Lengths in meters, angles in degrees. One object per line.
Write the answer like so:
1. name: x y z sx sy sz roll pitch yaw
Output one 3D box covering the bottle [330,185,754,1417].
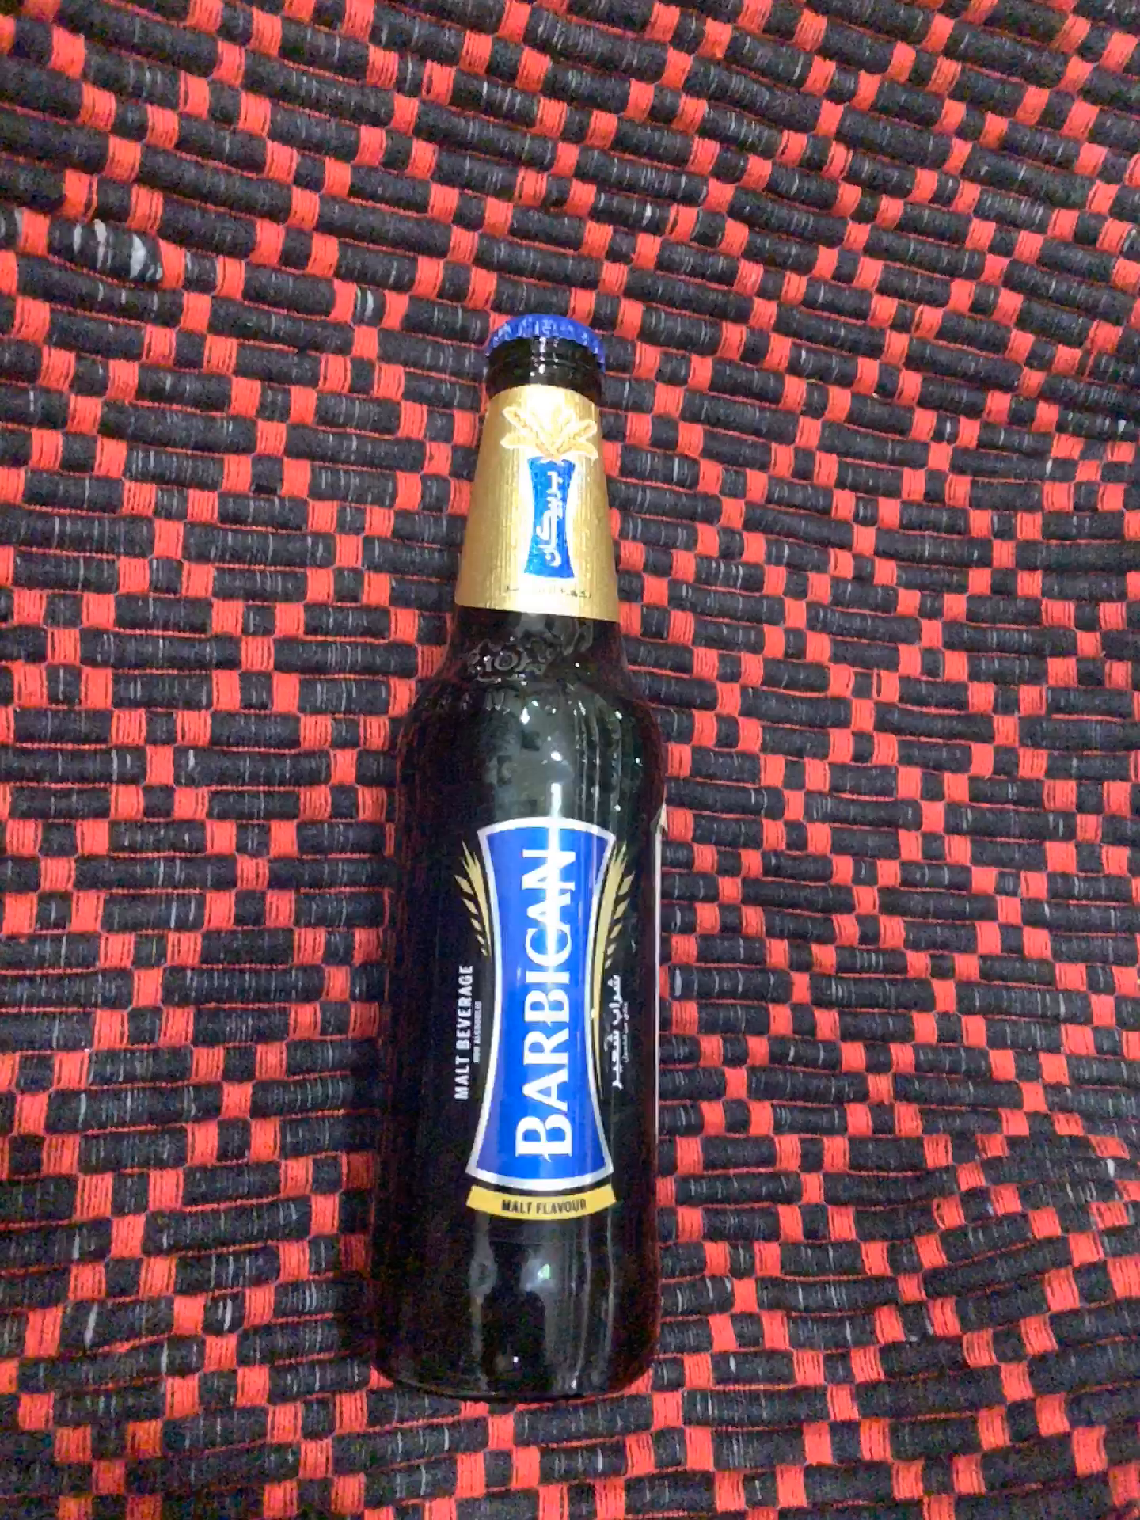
1. bottle: -0.006 0.004 0.235 0.060 0.060 0.210 6 77 -20
